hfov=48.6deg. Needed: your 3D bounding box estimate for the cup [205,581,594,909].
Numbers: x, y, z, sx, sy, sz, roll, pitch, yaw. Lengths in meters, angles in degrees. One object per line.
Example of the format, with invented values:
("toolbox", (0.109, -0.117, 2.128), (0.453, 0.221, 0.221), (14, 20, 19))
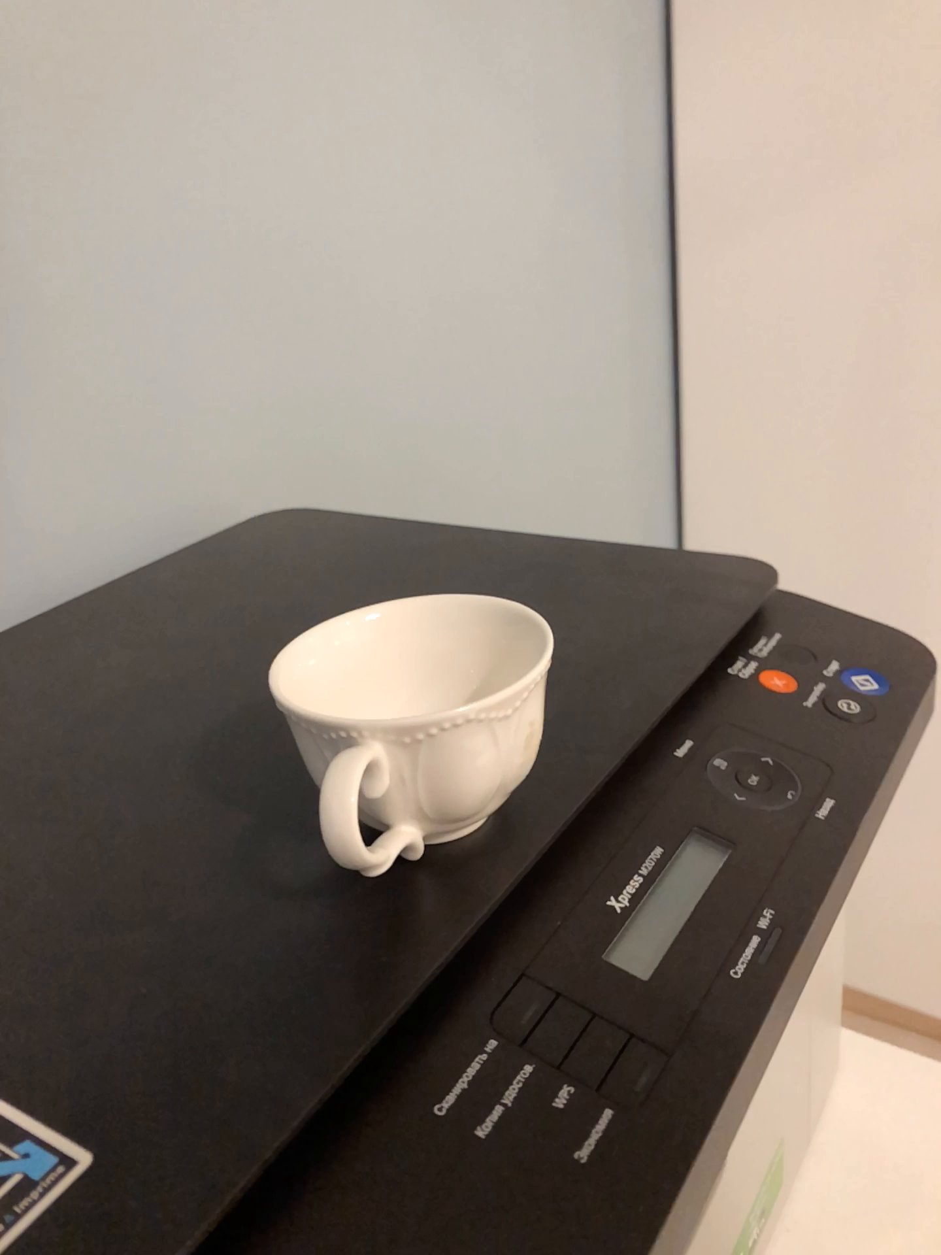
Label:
("cup", (-0.011, 0.025, 0.276), (0.076, 0.044, 0.094), (0, 22, 13))
